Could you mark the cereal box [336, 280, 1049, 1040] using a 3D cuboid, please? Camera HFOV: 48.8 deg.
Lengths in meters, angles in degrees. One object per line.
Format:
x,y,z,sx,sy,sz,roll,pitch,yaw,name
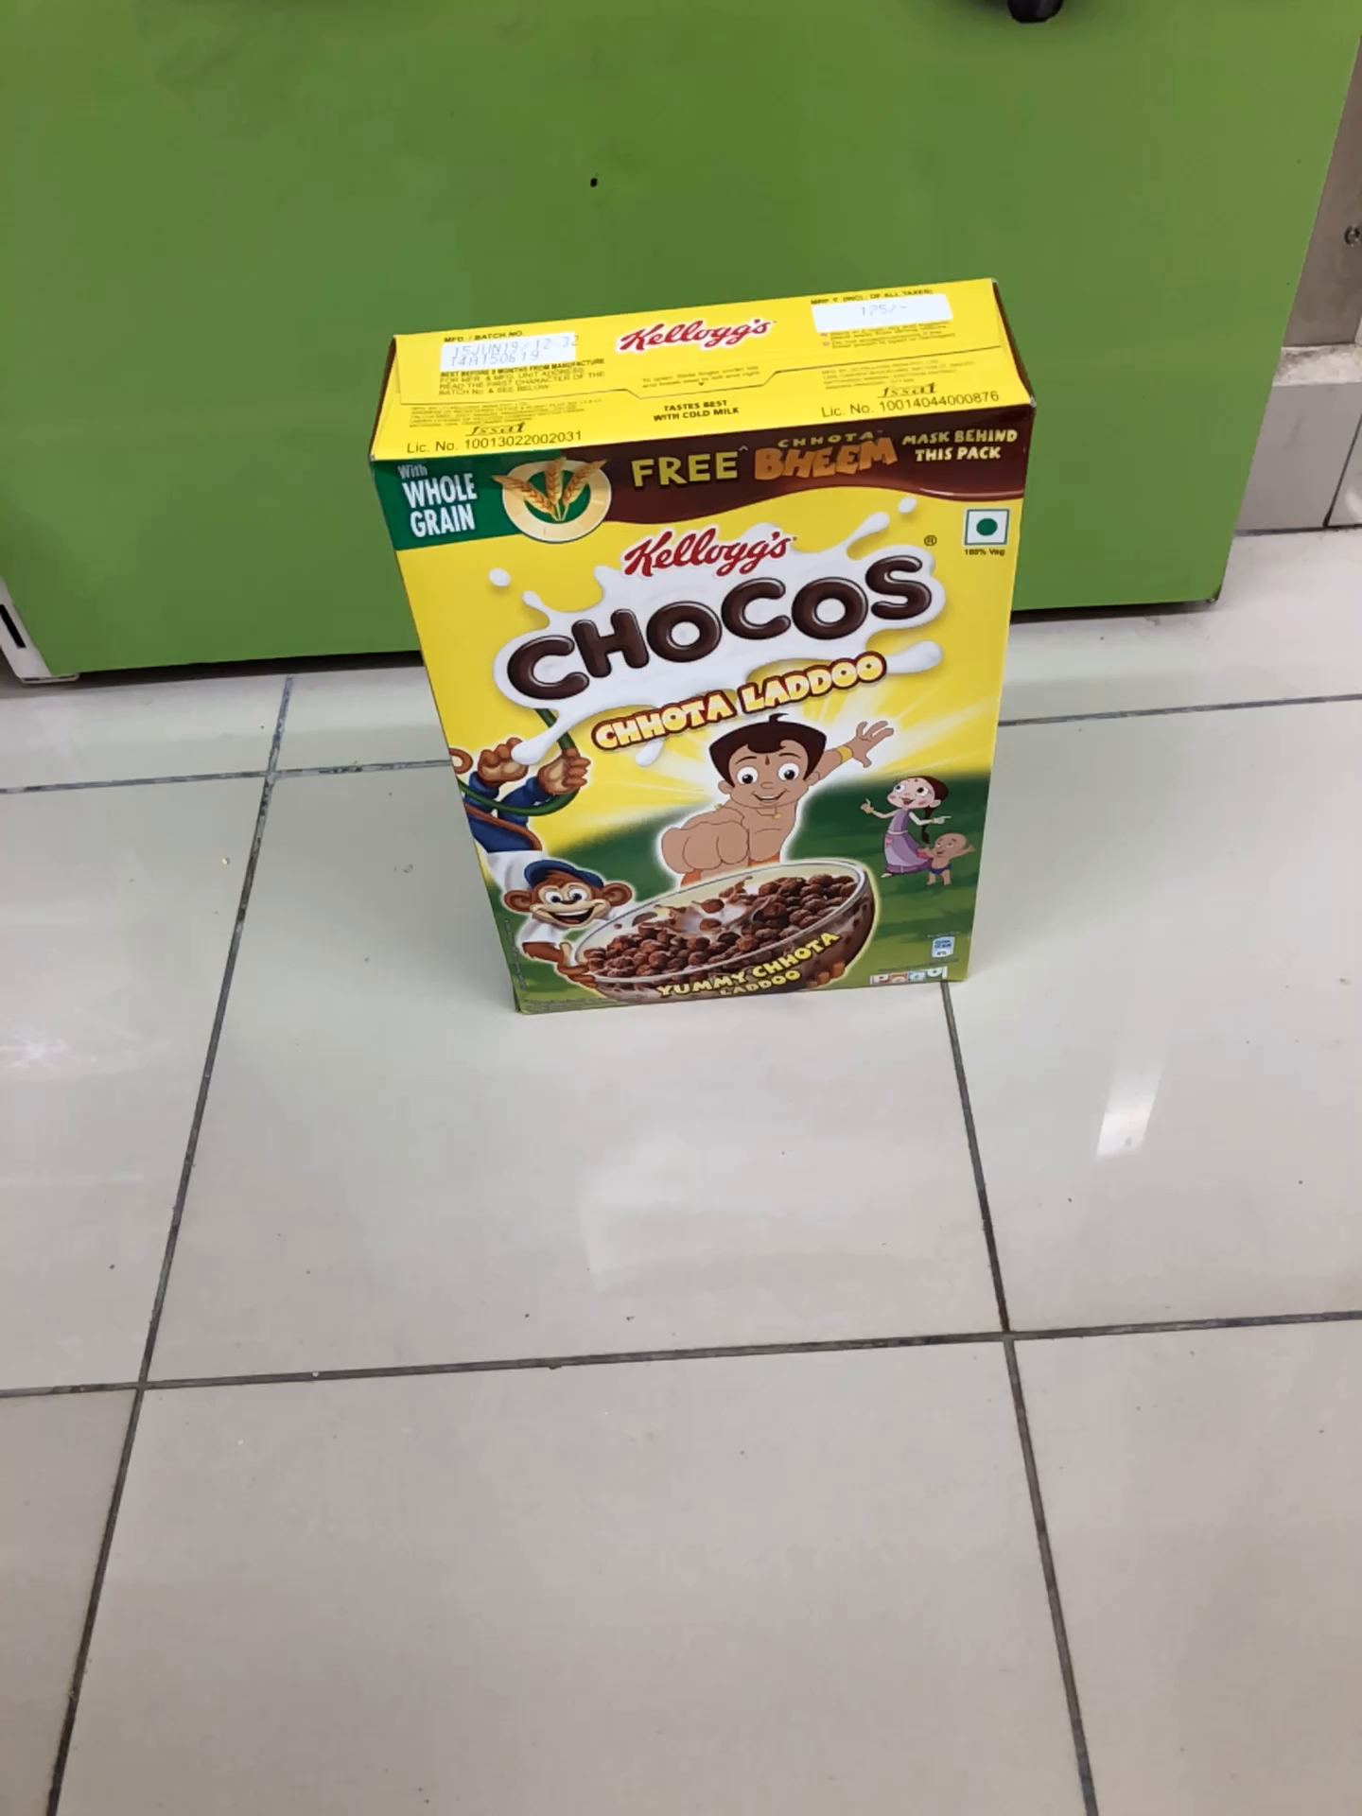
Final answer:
0.010,-0.067,0.519,0.190,0.259,0.070,-5,49,1,cereal box
